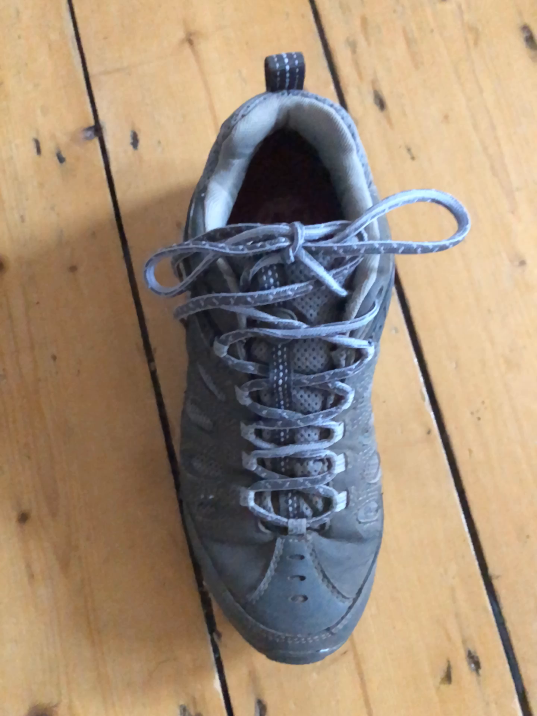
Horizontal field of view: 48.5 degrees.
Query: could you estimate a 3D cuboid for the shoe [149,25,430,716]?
[{"bbox_3d":[0.006,0.004,0.289,0.100,0.110,0.280,-1,81,1],"label":"shoe"}]
